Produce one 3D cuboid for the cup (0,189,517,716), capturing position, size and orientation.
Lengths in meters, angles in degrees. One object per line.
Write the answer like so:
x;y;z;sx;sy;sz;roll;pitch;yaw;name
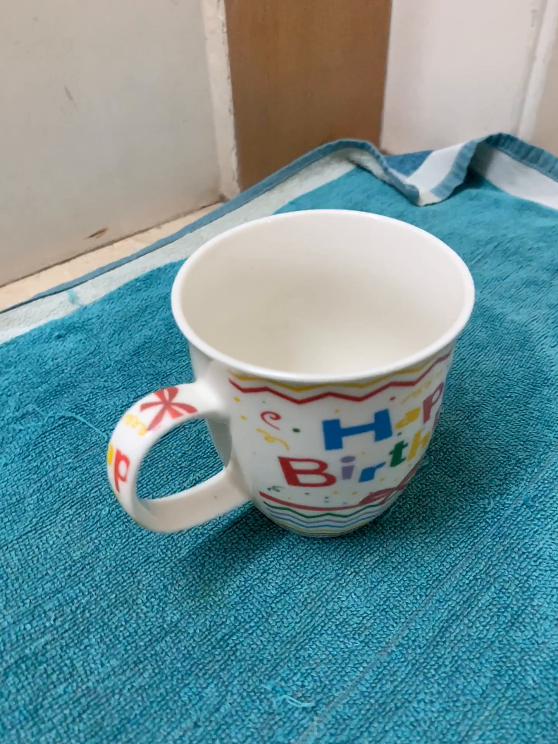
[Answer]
-0.007;0.017;0.201;0.130;0.099;0.091;-29;47;-26;cup
